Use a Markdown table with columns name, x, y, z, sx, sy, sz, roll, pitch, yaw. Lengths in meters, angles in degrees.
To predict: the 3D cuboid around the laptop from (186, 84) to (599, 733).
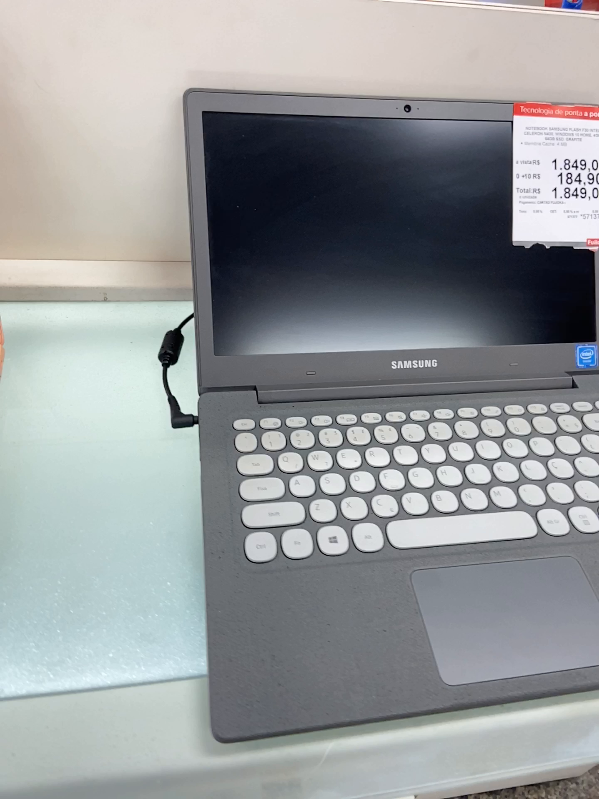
| name | x | y | z | sx | sy | sz | roll | pitch | yaw |
| --- | --- | --- | --- | --- | --- | --- | --- | --- | --- |
| laptop | 0.099 | -0.041 | 0.378 | 0.319 | 0.144 | 0.366 | -2 | 46 | -9 |
